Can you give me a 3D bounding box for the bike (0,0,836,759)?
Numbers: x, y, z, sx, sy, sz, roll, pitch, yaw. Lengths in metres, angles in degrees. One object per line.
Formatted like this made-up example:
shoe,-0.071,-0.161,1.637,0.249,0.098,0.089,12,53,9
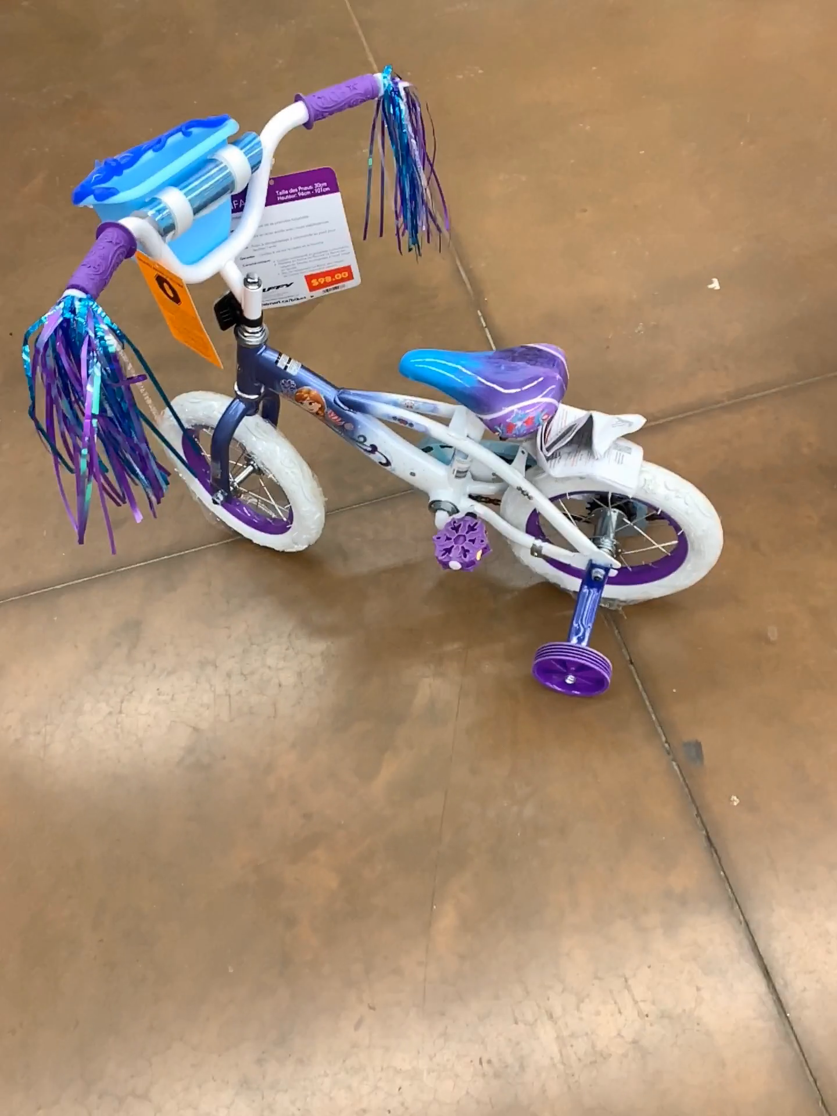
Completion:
bike,-0.030,-0.186,1.000,0.805,0.634,0.440,13,60,13
